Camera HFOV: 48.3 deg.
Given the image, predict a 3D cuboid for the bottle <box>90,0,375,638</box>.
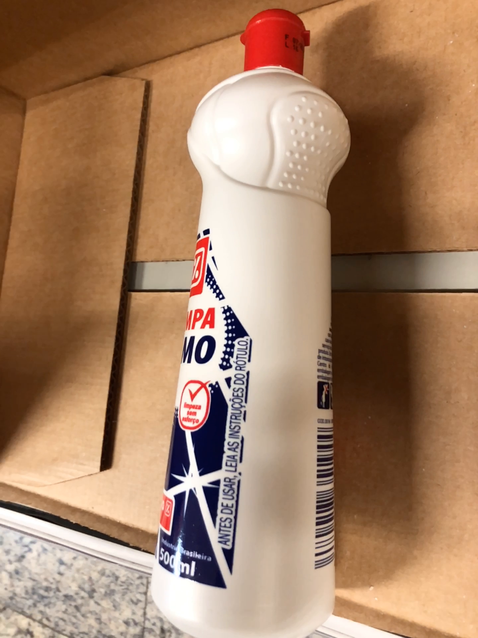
[{"bbox_3d":[0.002,-0.021,0.210,0.080,0.060,0.260,-2,82,33],"label":"bottle"}]
